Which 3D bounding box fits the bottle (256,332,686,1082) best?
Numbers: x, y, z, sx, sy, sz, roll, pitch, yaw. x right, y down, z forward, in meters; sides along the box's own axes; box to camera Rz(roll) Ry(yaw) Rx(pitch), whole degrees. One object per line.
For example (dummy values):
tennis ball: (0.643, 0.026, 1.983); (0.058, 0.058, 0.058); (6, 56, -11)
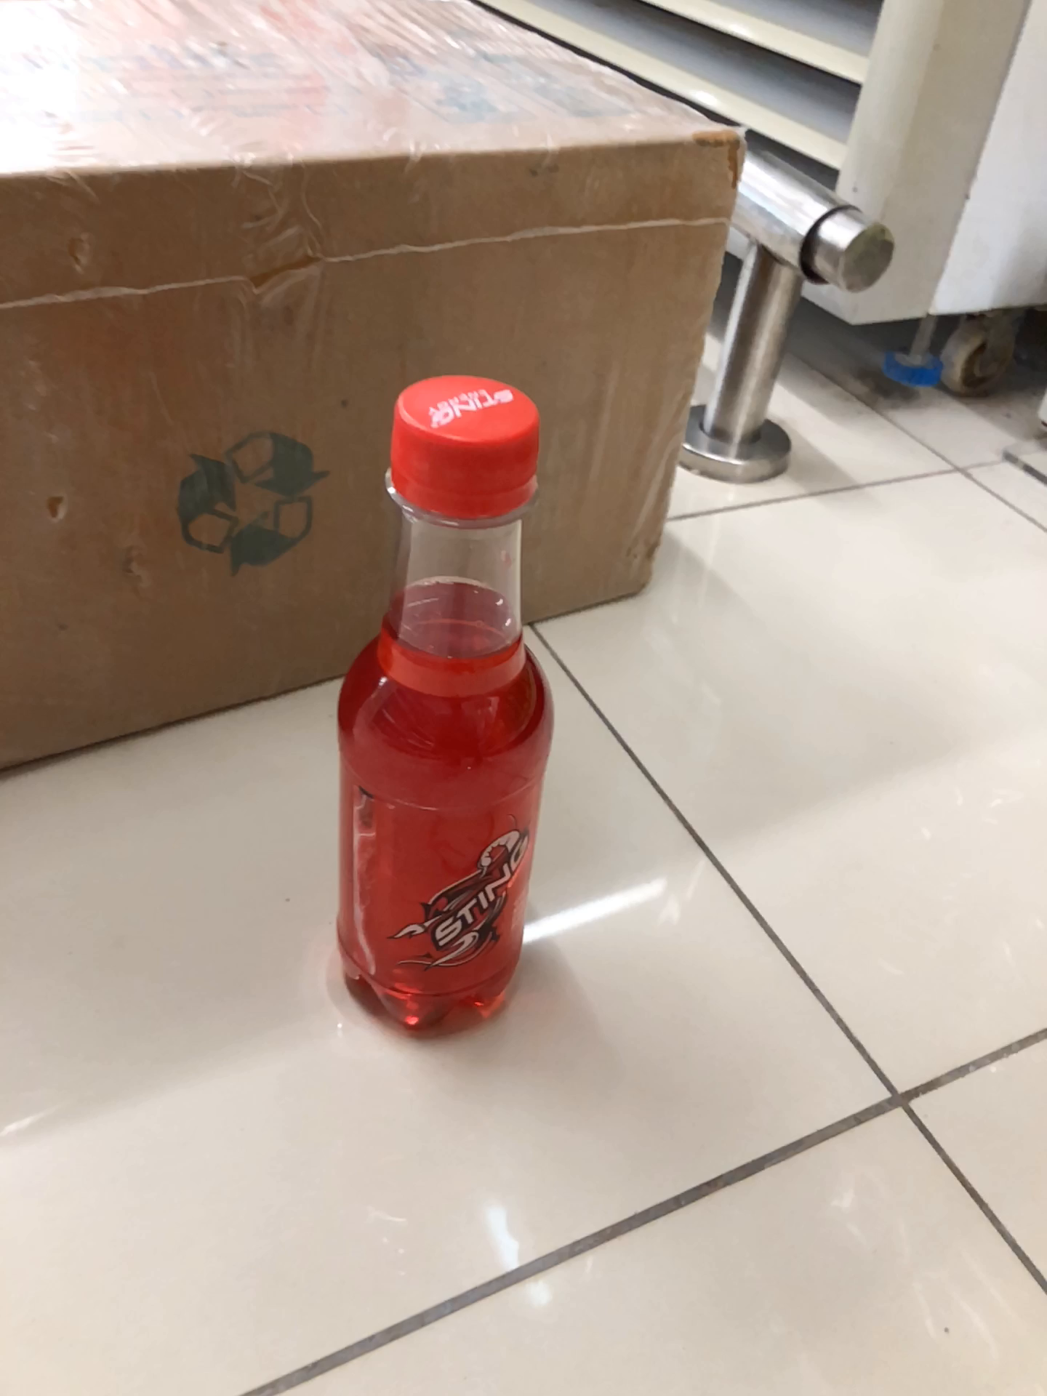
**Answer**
bottle: (-0.022, 0.008, 0.302); (0.070, 0.179, 0.070); (4, 38, -3)
